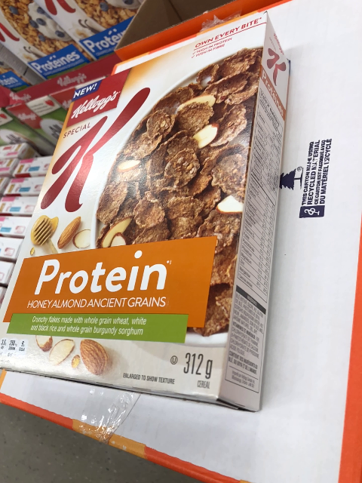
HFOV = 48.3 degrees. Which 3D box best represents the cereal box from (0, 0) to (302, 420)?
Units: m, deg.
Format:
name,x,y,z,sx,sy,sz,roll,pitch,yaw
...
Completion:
name,x,y,z,sx,sy,sz,roll,pitch,yaw
cereal box,-0.029,-0.032,0.288,0.201,0.060,0.260,-7,61,35
